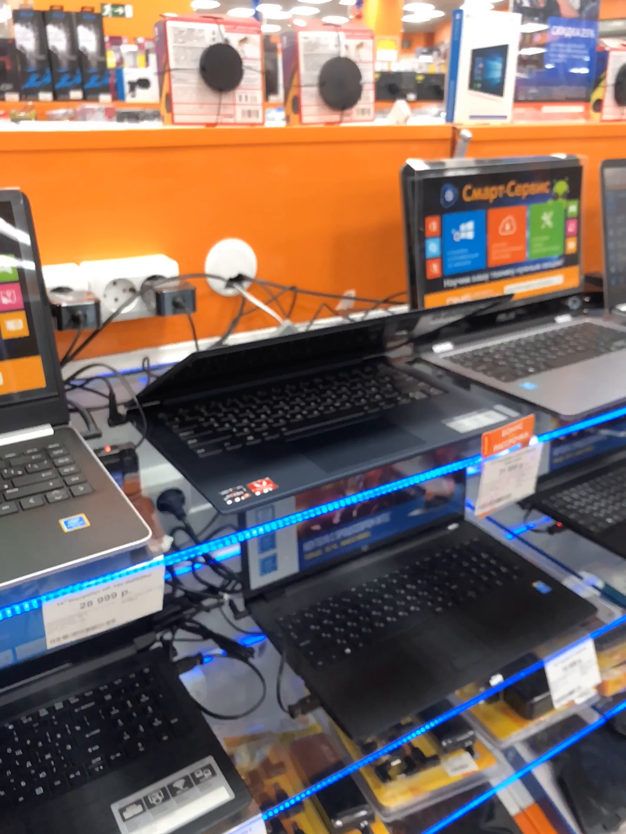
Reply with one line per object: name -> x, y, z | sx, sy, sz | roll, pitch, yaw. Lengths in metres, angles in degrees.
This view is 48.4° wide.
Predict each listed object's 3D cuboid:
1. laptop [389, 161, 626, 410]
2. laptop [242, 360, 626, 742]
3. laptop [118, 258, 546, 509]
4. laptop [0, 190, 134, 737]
laptop -> 0.305, -0.177, 0.803 | 0.331, 0.202, 0.257 | -16, 28, -33
laptop -> 0.133, 0.120, 0.821 | 0.355, 0.227, 0.258 | -15, 30, -28
laptop -> 0.013, -0.053, 0.622 | 0.302, 0.108, 0.203 | -14, 28, -27
laptop -> -0.309, -0.023, 0.451 | 0.302, 0.200, 0.250 | -13, 28, -29
